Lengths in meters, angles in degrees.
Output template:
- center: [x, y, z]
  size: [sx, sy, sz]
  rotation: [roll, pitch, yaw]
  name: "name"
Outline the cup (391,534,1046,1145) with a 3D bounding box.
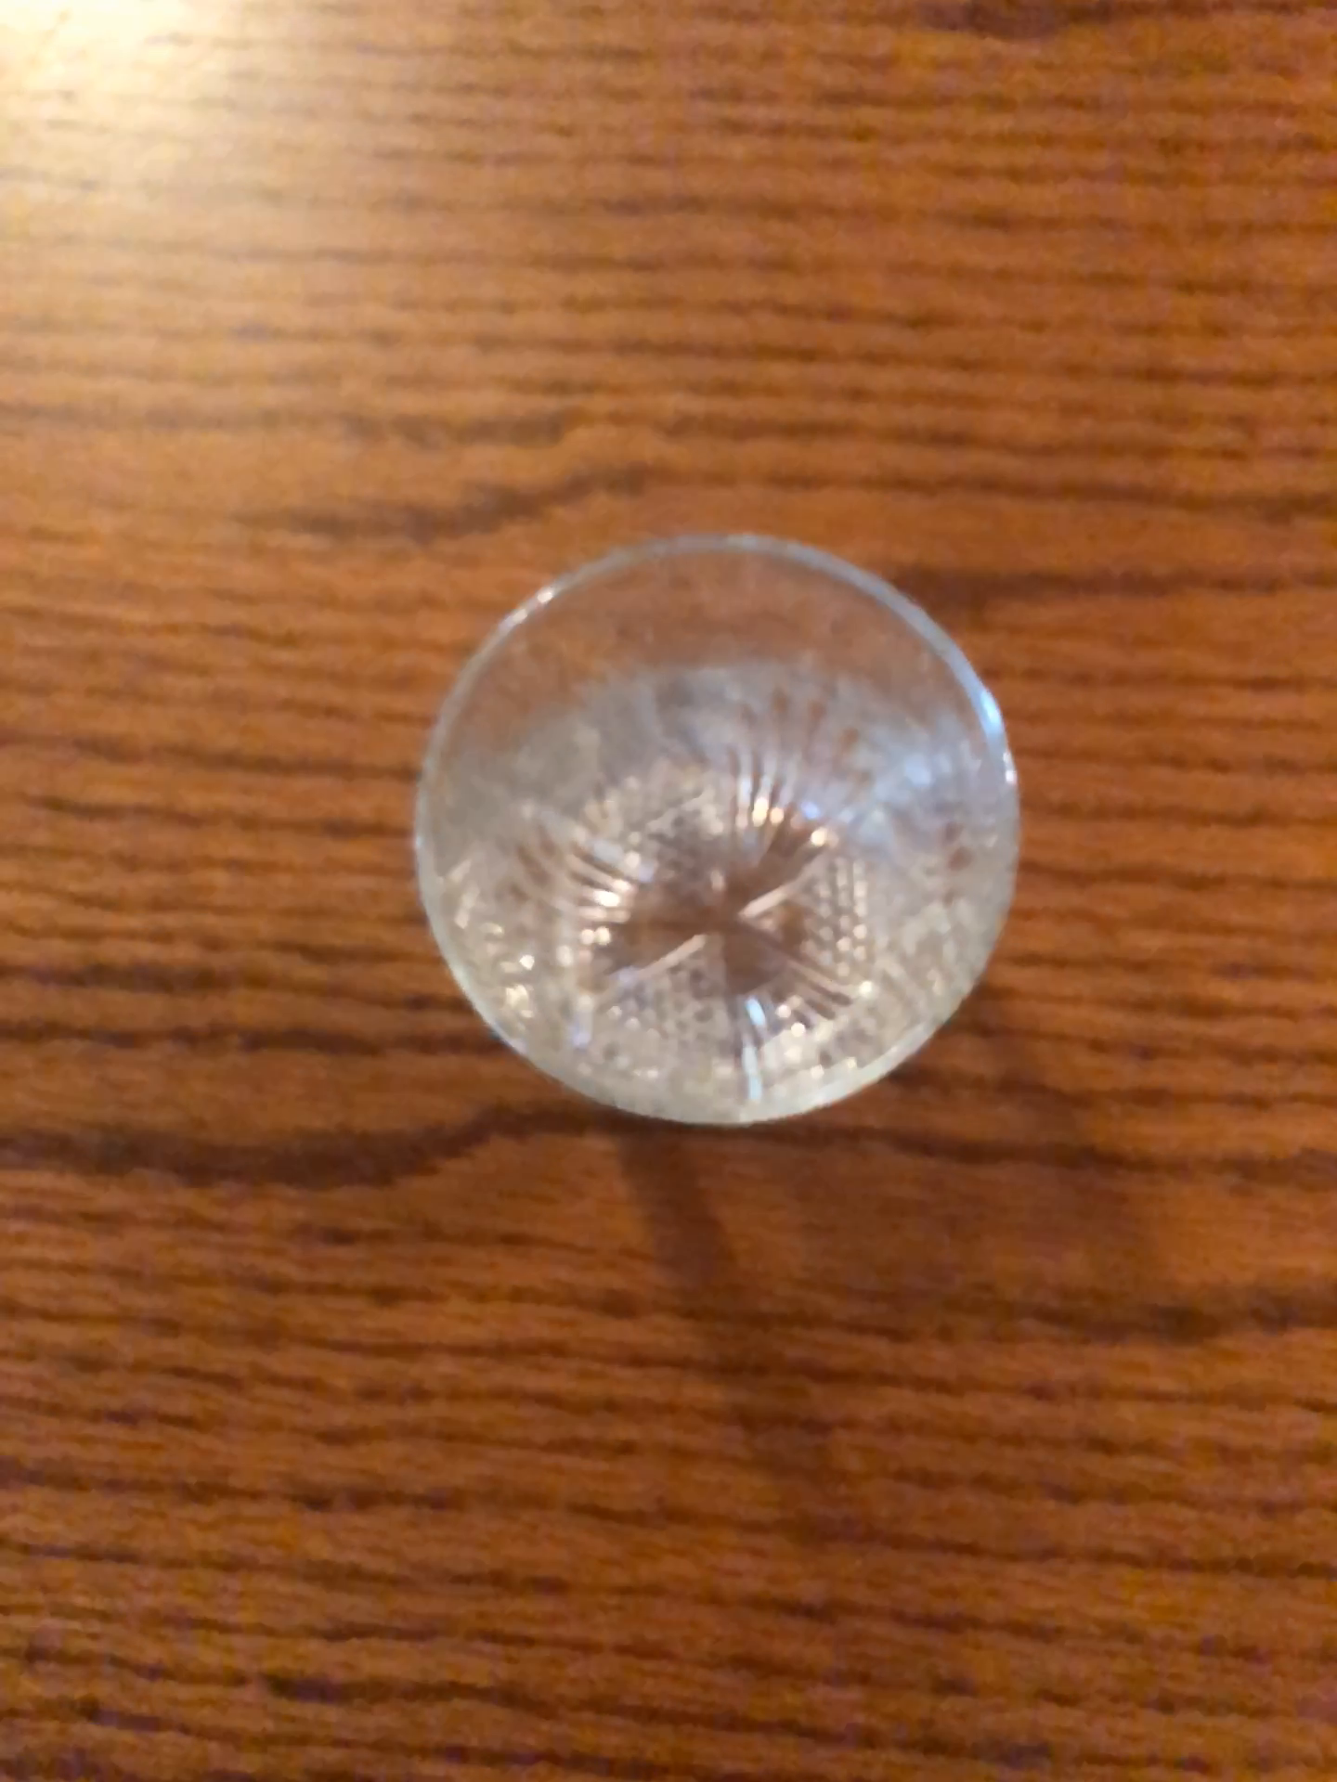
- center: [0.008, -0.001, 0.244]
  size: [0.084, 0.084, 0.080]
  rotation: [-1, 79, 3]
  name: "cup"
